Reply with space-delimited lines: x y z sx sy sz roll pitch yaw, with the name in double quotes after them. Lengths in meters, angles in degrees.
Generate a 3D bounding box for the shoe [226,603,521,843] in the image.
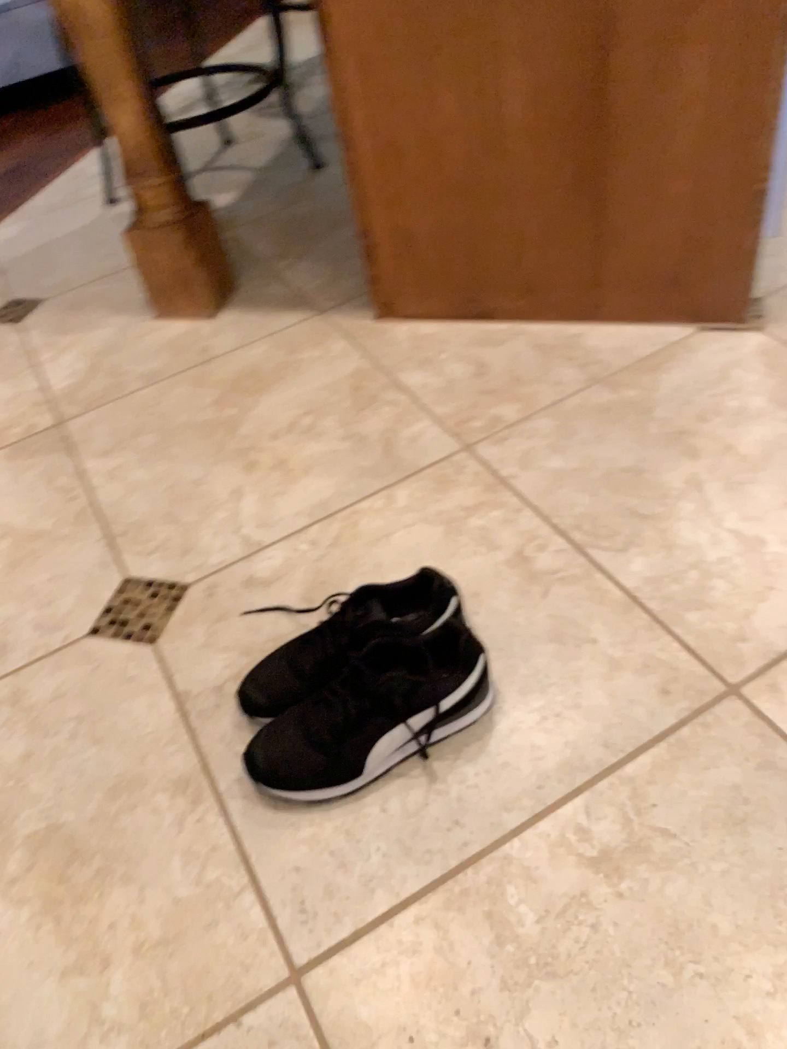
-0.018 0.199 0.832 0.269 0.095 0.109 -22 43 -9 "shoe"

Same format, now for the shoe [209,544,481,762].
-0.051 0.139 0.901 0.269 0.095 0.109 -22 44 -9 "shoe"
